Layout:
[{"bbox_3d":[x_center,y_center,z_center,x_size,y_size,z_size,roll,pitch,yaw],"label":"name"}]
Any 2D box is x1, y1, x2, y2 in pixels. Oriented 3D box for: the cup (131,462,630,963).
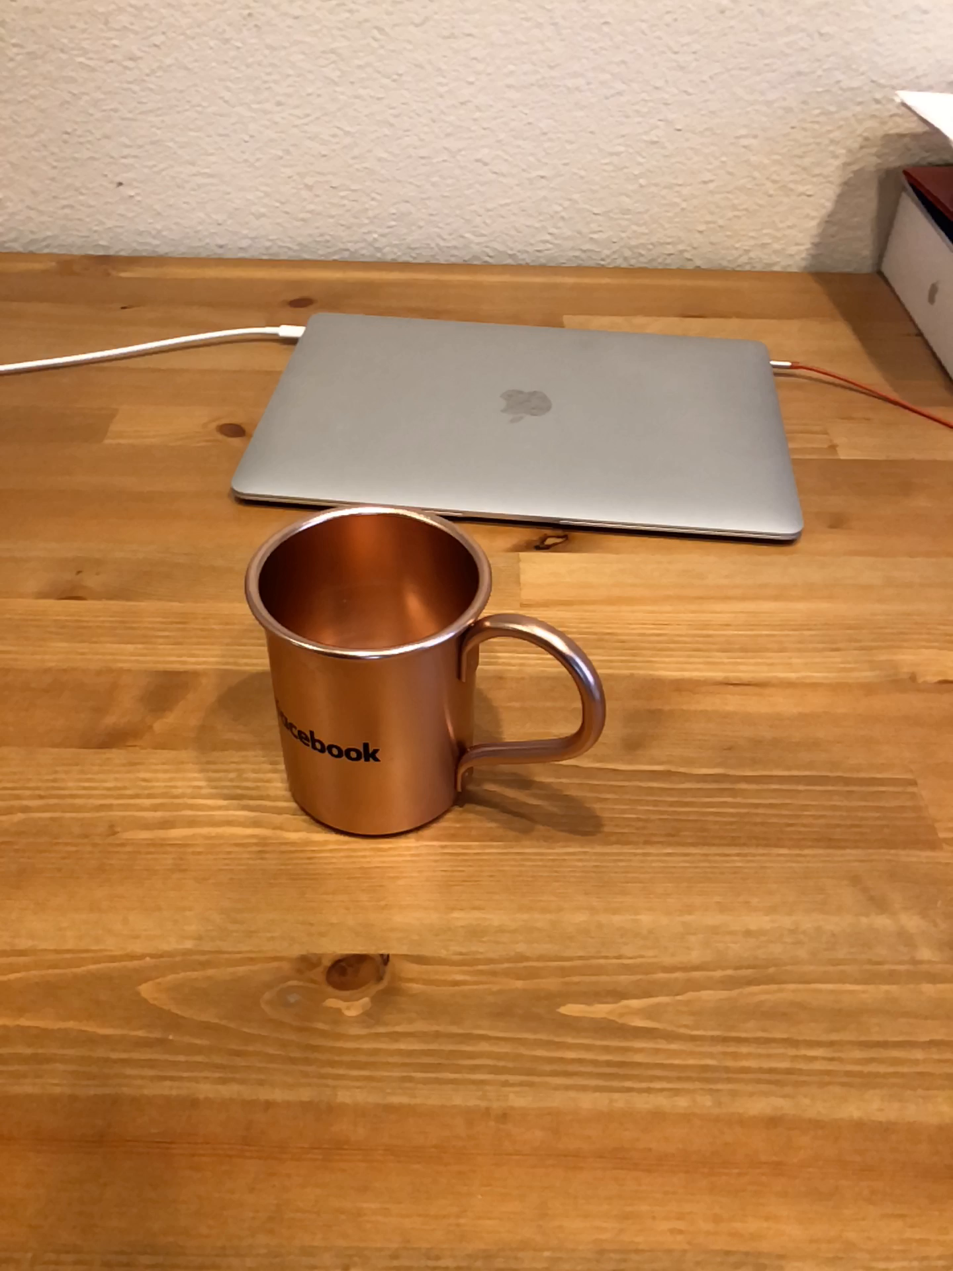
[{"bbox_3d":[-0.030,0.021,0.356,0.130,0.100,0.080,23,45,23],"label":"cup"}]
